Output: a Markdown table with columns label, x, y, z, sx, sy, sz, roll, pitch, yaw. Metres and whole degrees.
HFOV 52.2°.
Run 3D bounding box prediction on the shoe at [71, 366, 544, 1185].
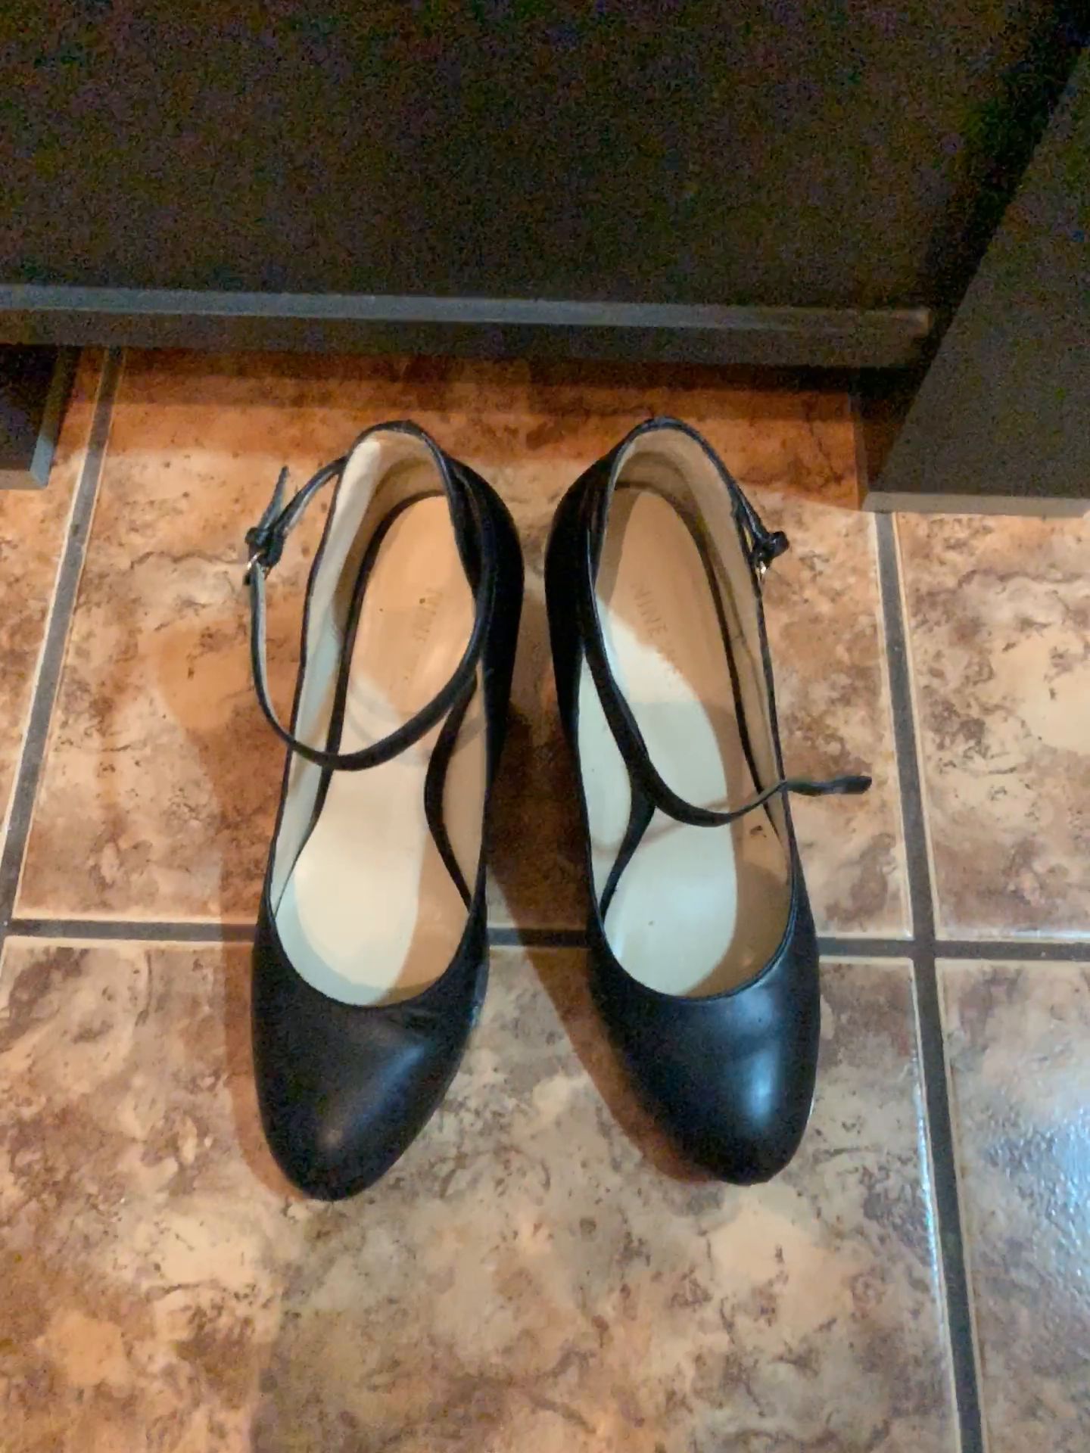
| label | x | y | z | sx | sy | sz | roll | pitch | yaw |
| --- | --- | --- | --- | --- | --- | --- | --- | --- | --- |
| shoe | -0.050 | 0.027 | 0.340 | 0.079 | 0.160 | 0.200 | 5 | 68 | 2 |

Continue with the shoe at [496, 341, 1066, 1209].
| label | x | y | z | sx | sy | sz | roll | pitch | yaw |
| --- | --- | --- | --- | --- | --- | --- | --- | --- | --- |
| shoe | 0.047 | 0.021 | 0.333 | 0.087 | 0.140 | 0.209 | -9 | 69 | -4 |
